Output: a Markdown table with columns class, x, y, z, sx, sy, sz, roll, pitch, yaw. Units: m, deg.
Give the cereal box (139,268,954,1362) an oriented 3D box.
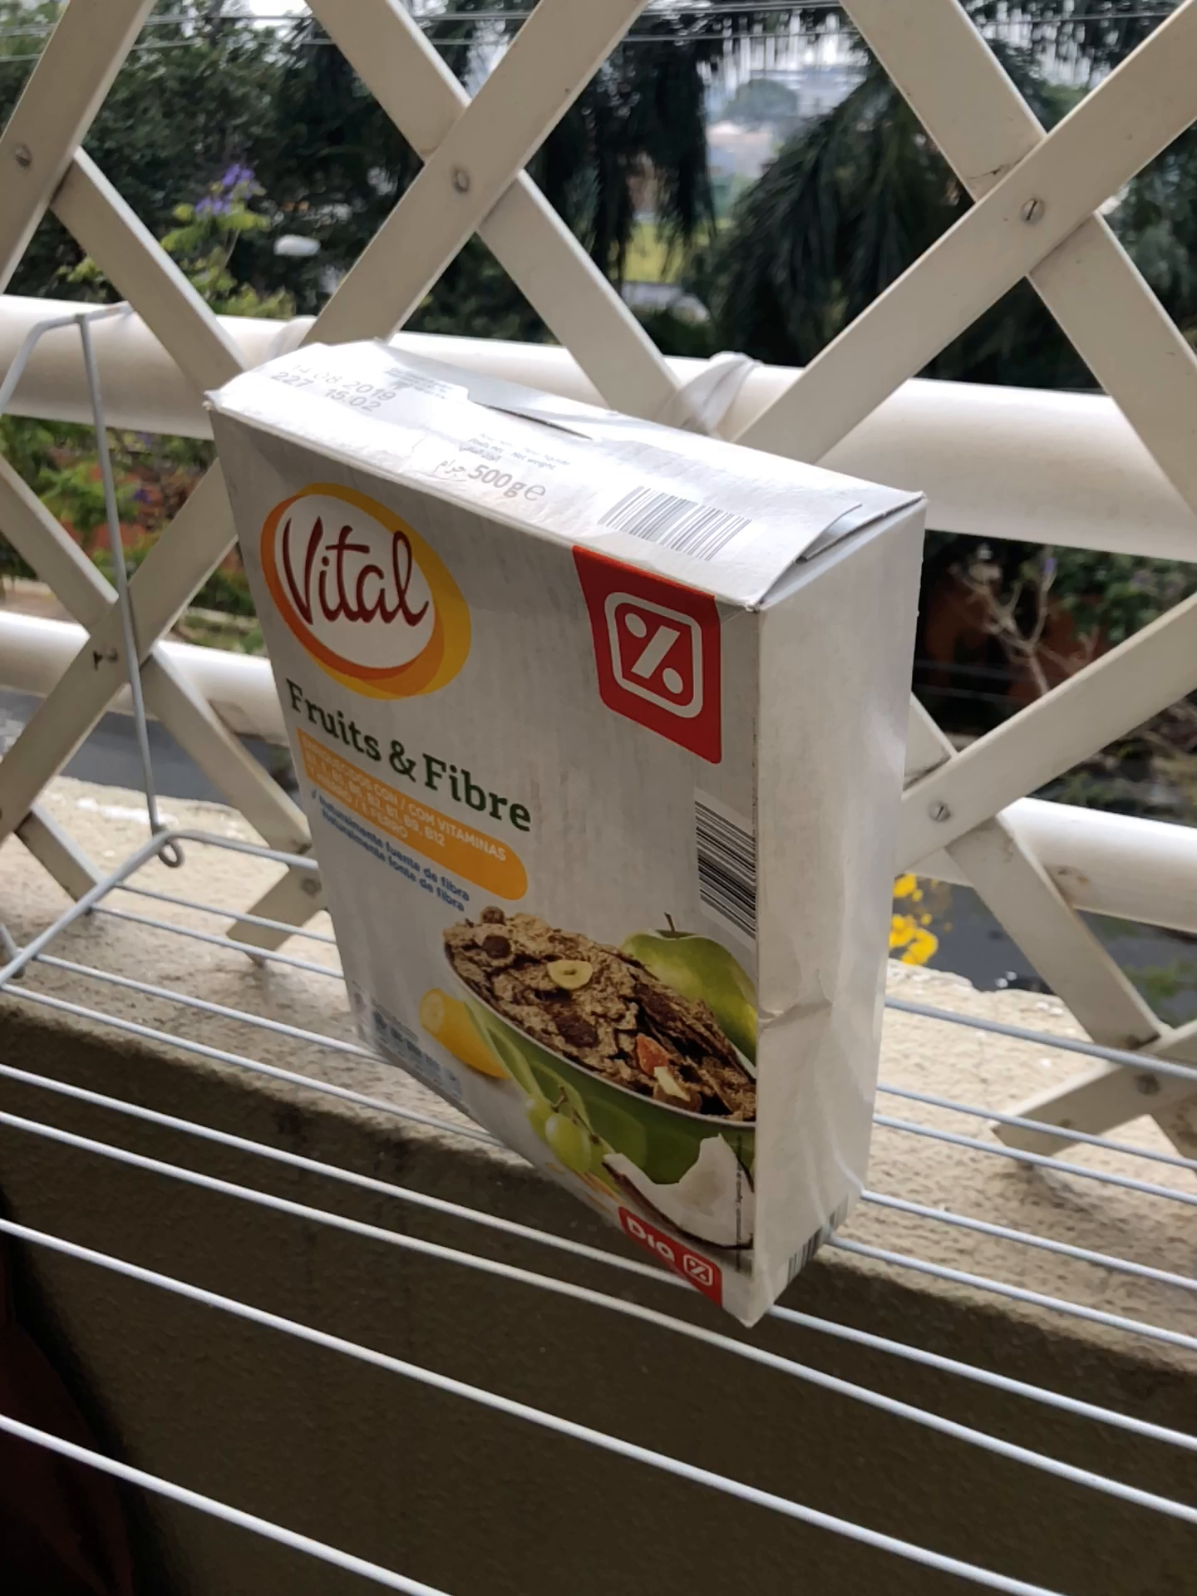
| class | x | y | z | sx | sy | sz | roll | pitch | yaw |
| --- | --- | --- | --- | --- | --- | --- | --- | --- | --- |
| cereal box | -0.016 | 0.004 | 0.398 | 0.211 | 0.268 | 0.070 | 27 | 47 | 36 |
